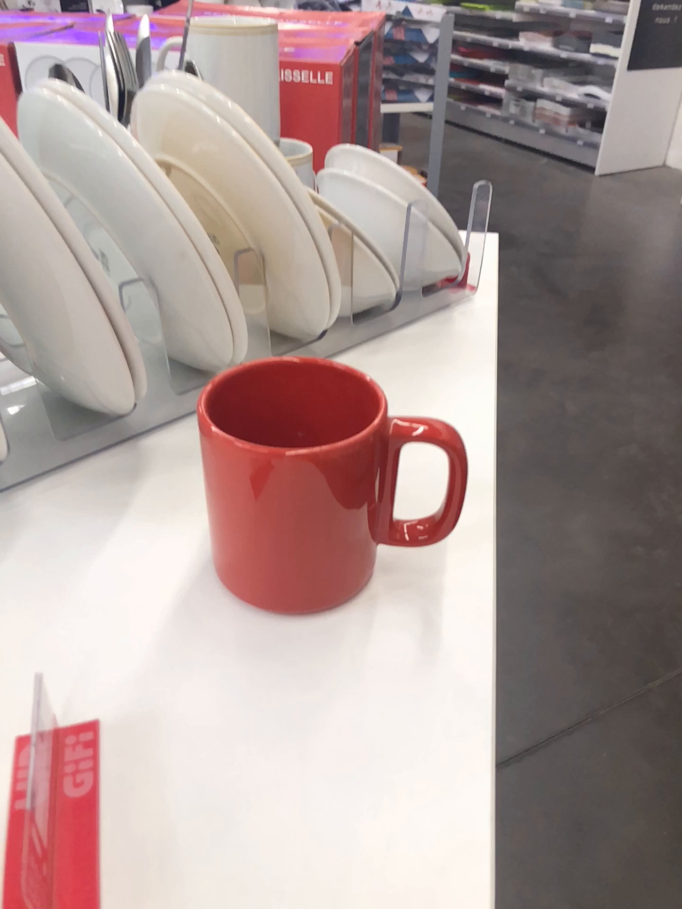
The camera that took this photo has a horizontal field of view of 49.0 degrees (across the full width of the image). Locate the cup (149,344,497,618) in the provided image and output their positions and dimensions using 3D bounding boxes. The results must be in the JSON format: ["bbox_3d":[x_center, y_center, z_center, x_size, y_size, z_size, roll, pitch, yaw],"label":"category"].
[{"bbox_3d":[-0.007,0.009,0.338,0.129,0.082,0.092,2,34,0],"label":"cup"}]
